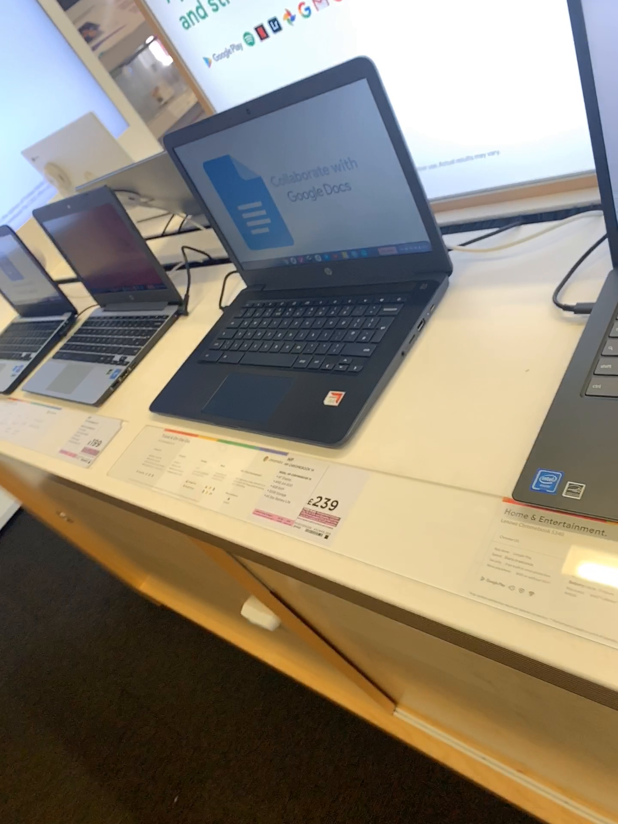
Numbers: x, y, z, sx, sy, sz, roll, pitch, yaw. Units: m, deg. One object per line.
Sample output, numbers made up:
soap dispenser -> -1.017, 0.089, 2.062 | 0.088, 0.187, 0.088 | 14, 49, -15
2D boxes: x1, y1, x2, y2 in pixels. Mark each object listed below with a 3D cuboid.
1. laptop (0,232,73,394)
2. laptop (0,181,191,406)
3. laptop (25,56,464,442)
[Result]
laptop -> -0.648, -0.183, 1.222 | 0.335, 0.189, 0.191 | 8, 56, 48
laptop -> -0.382, -0.176, 0.974 | 0.272, 0.186, 0.242 | 7, 55, 45
laptop -> -0.073, -0.150, 0.664 | 0.333, 0.209, 0.245 | 8, 55, 47
